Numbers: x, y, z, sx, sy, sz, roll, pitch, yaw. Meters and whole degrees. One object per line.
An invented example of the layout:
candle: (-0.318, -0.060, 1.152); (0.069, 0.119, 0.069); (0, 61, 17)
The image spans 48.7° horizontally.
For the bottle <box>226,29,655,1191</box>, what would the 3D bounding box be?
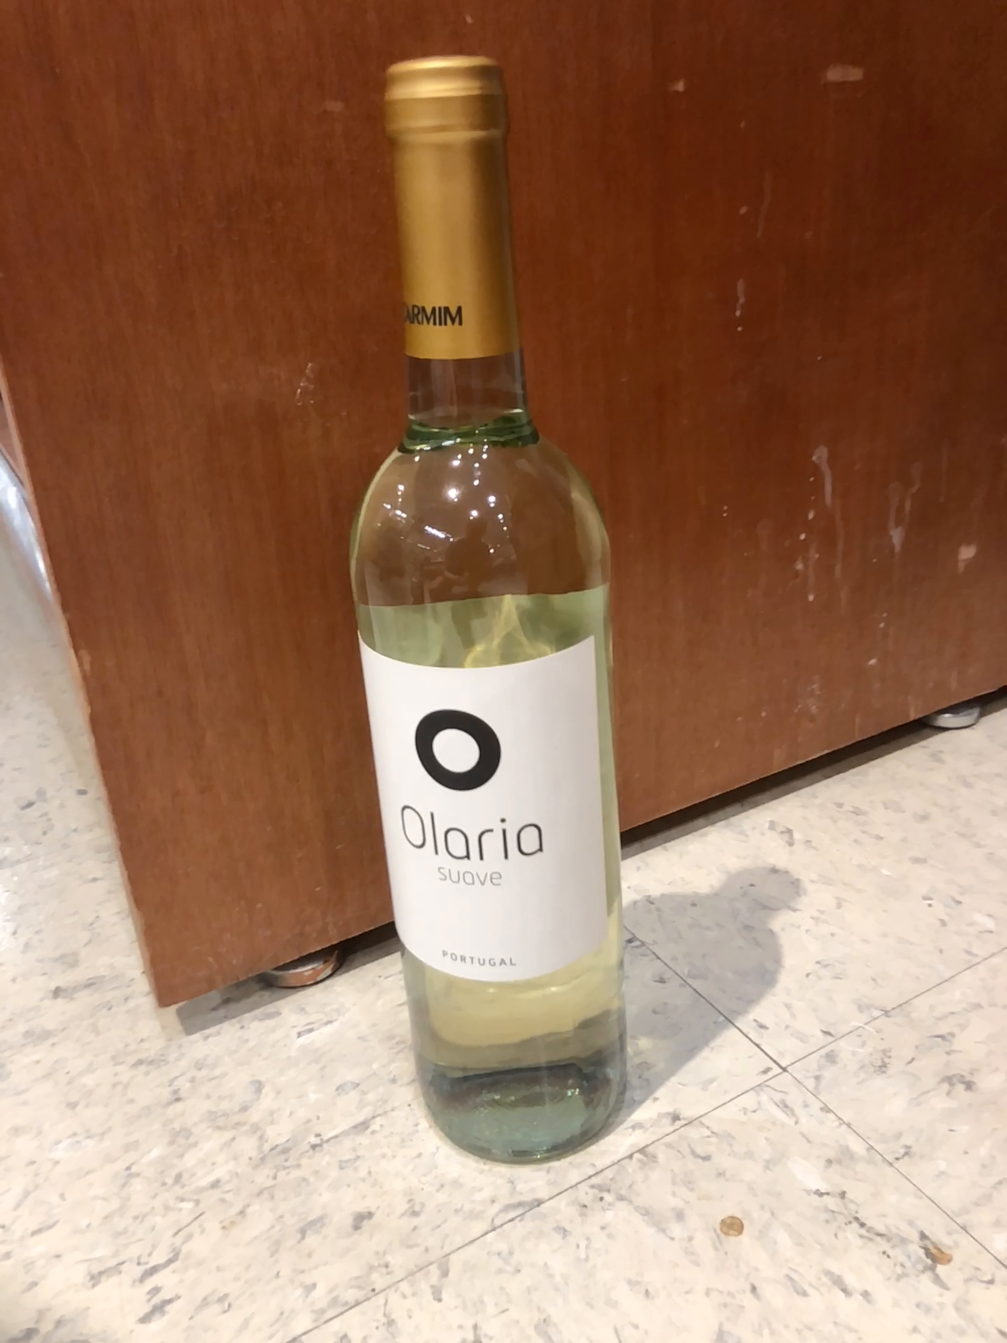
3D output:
bottle: (-0.001, 0.003, 0.323); (0.080, 0.318, 0.070); (0, 25, 11)
